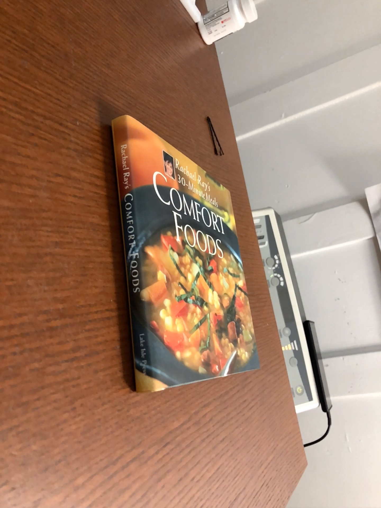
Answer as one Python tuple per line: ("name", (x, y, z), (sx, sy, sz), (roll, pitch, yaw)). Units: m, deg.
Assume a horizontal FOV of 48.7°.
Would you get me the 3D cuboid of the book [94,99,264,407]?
("book", (0.001, 0.008, 0.372), (0.201, 0.030, 0.210), (20, 59, -60))
